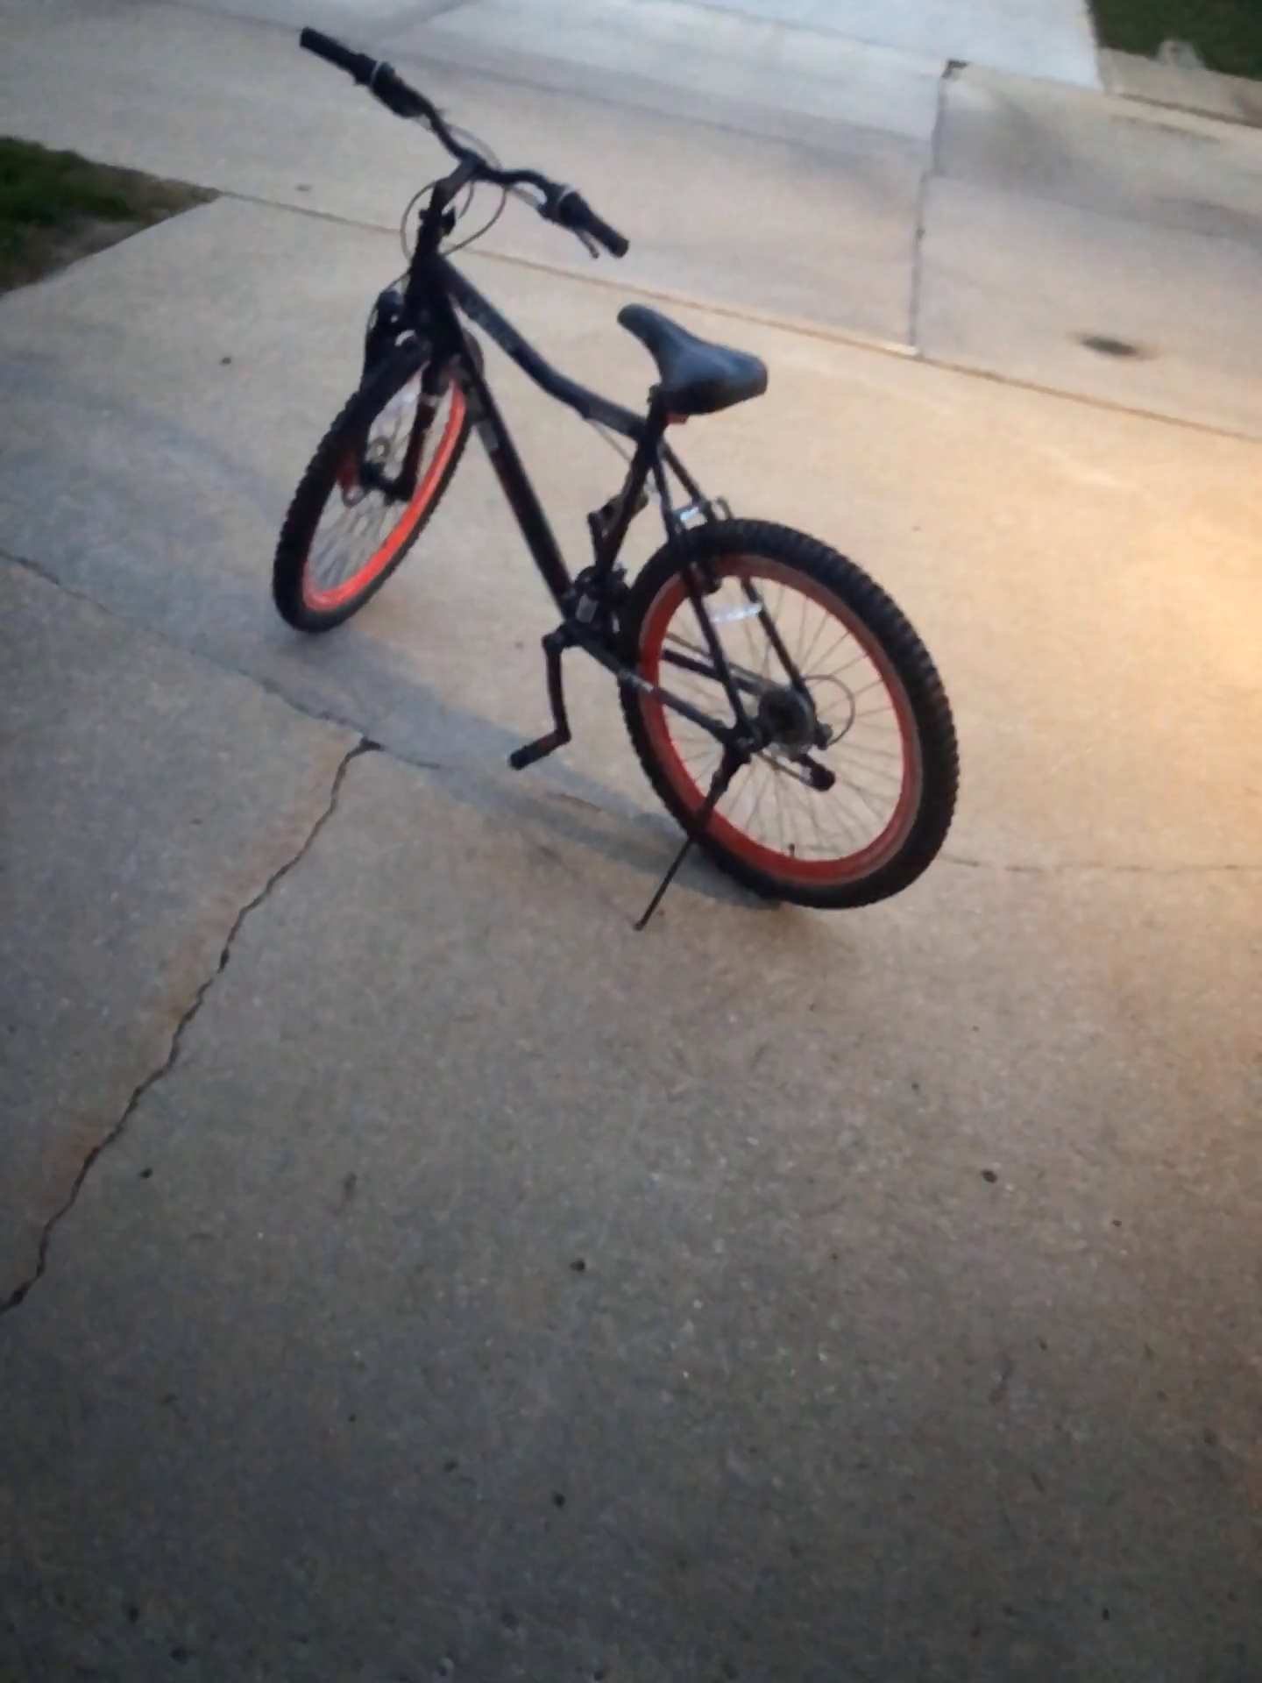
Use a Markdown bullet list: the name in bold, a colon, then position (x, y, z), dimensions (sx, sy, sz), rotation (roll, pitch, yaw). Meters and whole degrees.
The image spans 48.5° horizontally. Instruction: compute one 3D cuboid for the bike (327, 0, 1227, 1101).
- **bike**: position (0.065, -0.585, 2.260), dimensions (0.600, 1.031, 1.426), rotation (-17, 47, -33)
